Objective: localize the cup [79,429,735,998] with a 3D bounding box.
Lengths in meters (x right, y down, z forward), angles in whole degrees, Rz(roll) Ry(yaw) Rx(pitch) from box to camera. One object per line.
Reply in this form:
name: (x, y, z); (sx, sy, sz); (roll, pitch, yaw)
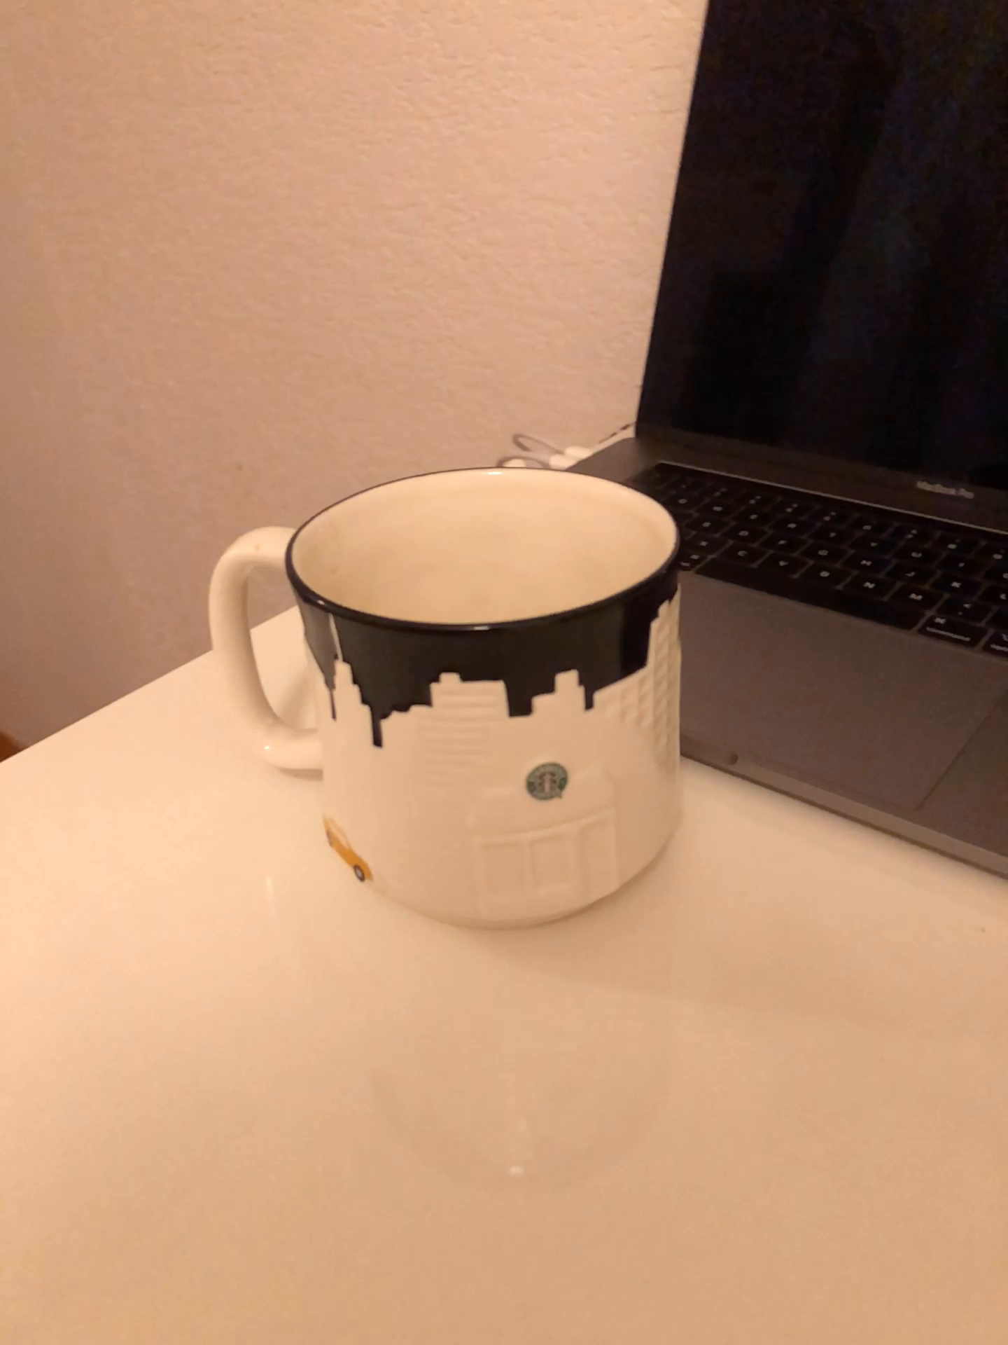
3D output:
cup: (-0.020, 0.002, 0.330); (0.150, 0.109, 0.100); (9, 33, 22)
